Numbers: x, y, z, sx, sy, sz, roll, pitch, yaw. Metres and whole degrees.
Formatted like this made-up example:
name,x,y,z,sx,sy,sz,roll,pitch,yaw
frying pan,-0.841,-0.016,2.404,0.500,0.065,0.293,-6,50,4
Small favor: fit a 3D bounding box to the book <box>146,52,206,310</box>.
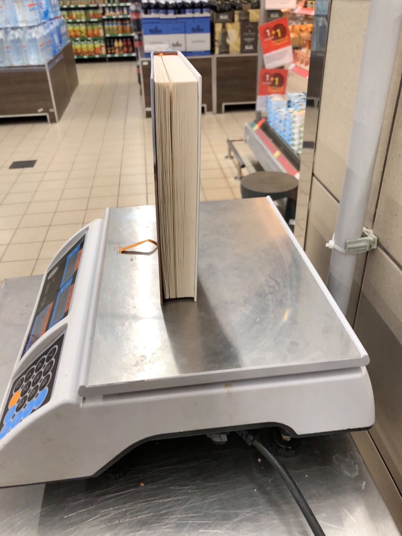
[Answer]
name,x,y,z,sx,sy,sz,roll,pitch,yaw
book,-0.025,-0.081,0.391,0.037,0.186,0.137,-3,32,-6
